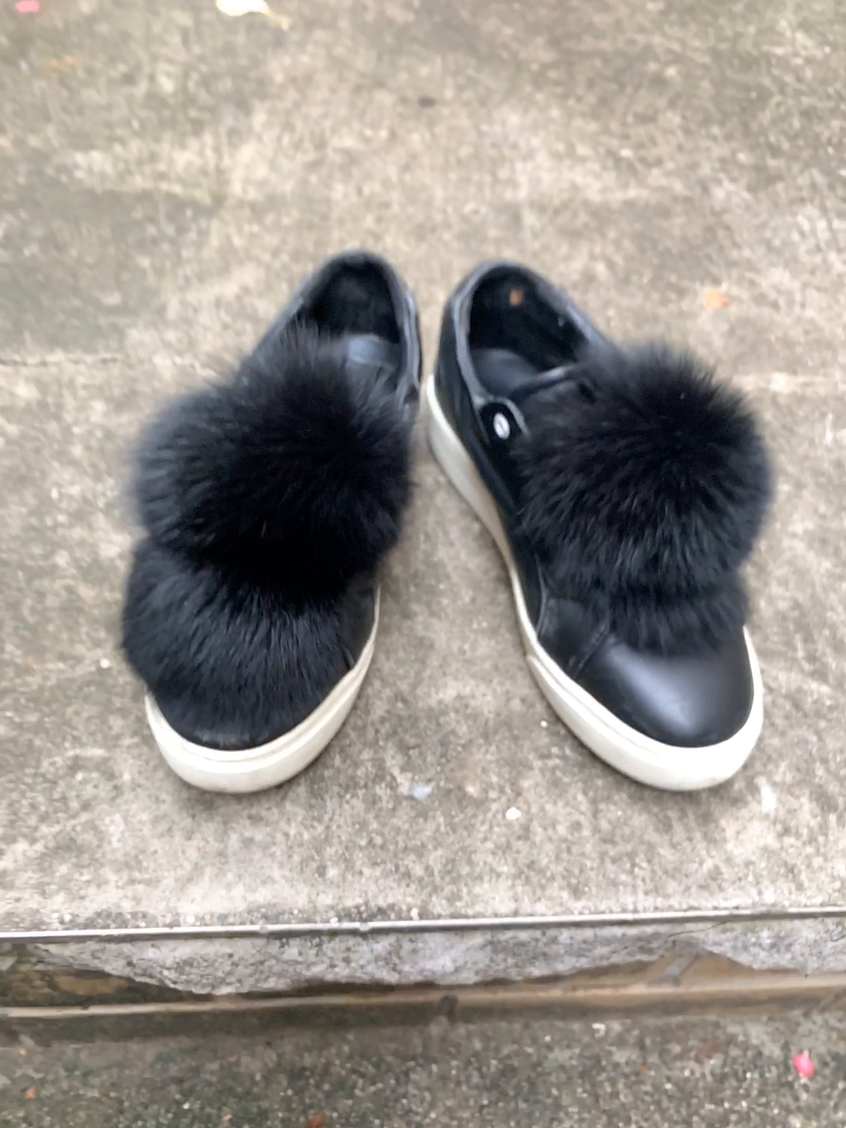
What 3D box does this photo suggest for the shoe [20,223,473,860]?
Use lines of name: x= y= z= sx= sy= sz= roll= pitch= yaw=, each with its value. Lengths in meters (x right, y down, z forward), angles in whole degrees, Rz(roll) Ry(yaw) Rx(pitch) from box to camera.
shoe: x=-0.051 y=-0.030 z=0.382 sx=0.095 sy=0.097 sz=0.270 roll=11 pitch=49 yaw=4

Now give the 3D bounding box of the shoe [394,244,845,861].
shoe: x=0.075 y=-0.022 z=0.371 sx=0.098 sy=0.097 sz=0.244 roll=-13 pitch=52 yaw=-16
